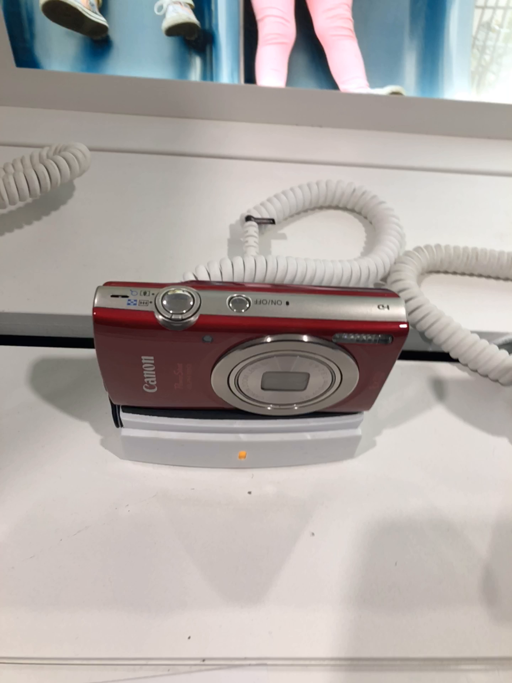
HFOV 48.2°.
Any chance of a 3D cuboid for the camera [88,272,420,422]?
[{"bbox_3d":[-0.002,0.004,0.185,0.092,0.050,0.022,1,52,-5],"label":"camera"}]
